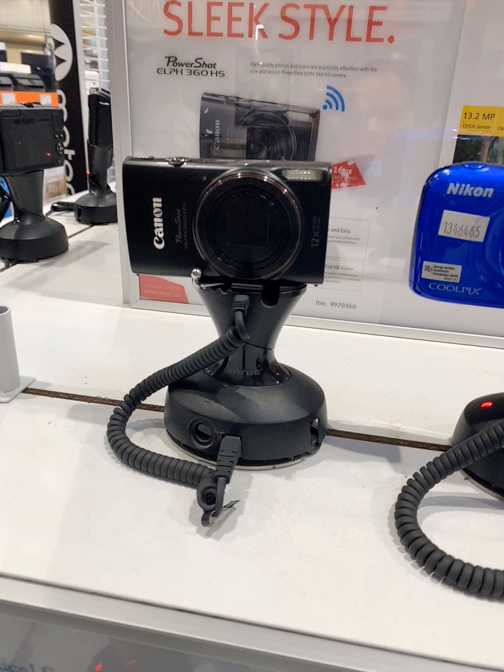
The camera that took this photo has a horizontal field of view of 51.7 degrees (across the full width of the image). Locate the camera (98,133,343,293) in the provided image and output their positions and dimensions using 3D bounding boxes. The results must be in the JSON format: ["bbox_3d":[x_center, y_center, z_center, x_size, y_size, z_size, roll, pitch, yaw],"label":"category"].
[{"bbox_3d":[-0.013,-0.058,0.240,0.100,0.060,0.040,4,24,4],"label":"camera"}]
